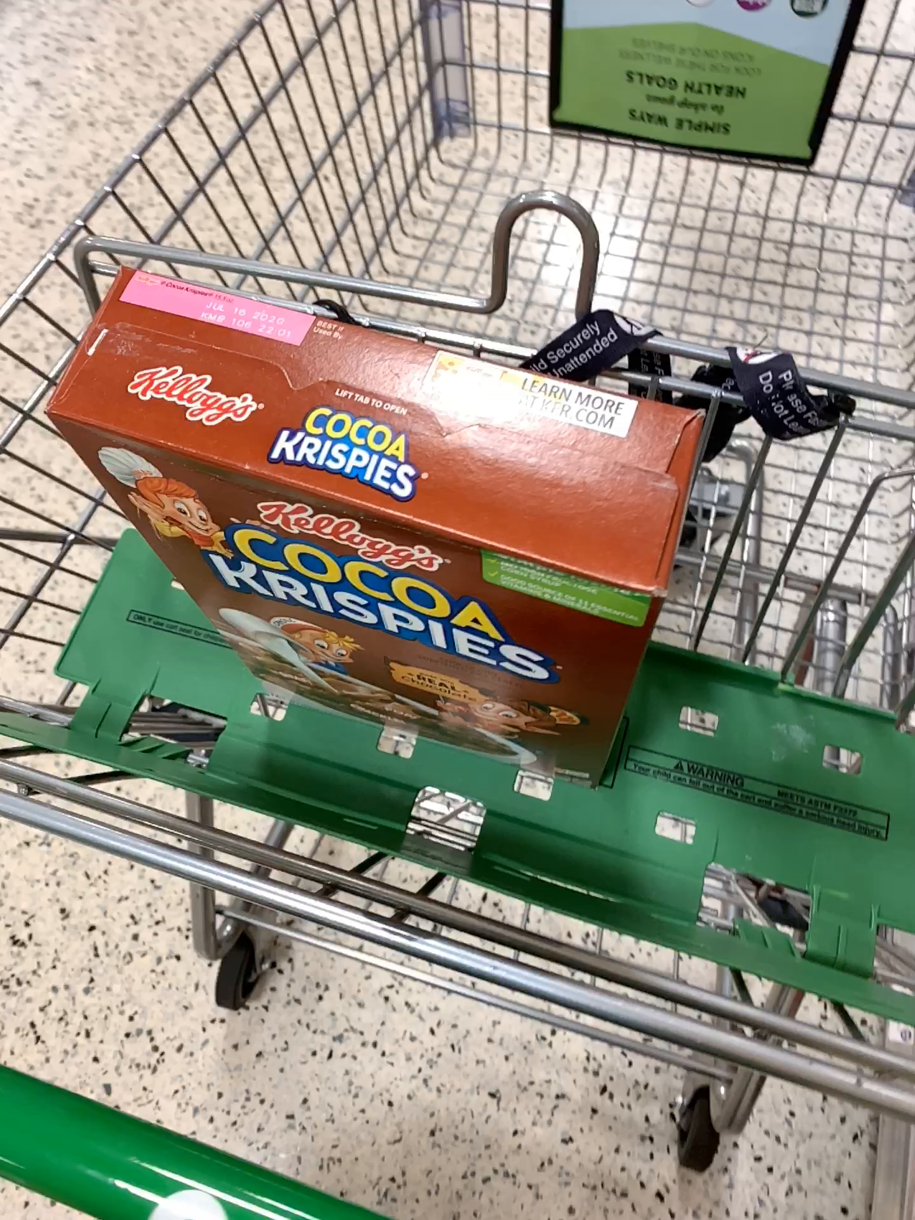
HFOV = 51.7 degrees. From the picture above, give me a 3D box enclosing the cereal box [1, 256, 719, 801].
[{"bbox_3d":[-0.019,-0.003,0.414,0.200,0.308,0.060,16,71,11],"label":"cereal box"}]
